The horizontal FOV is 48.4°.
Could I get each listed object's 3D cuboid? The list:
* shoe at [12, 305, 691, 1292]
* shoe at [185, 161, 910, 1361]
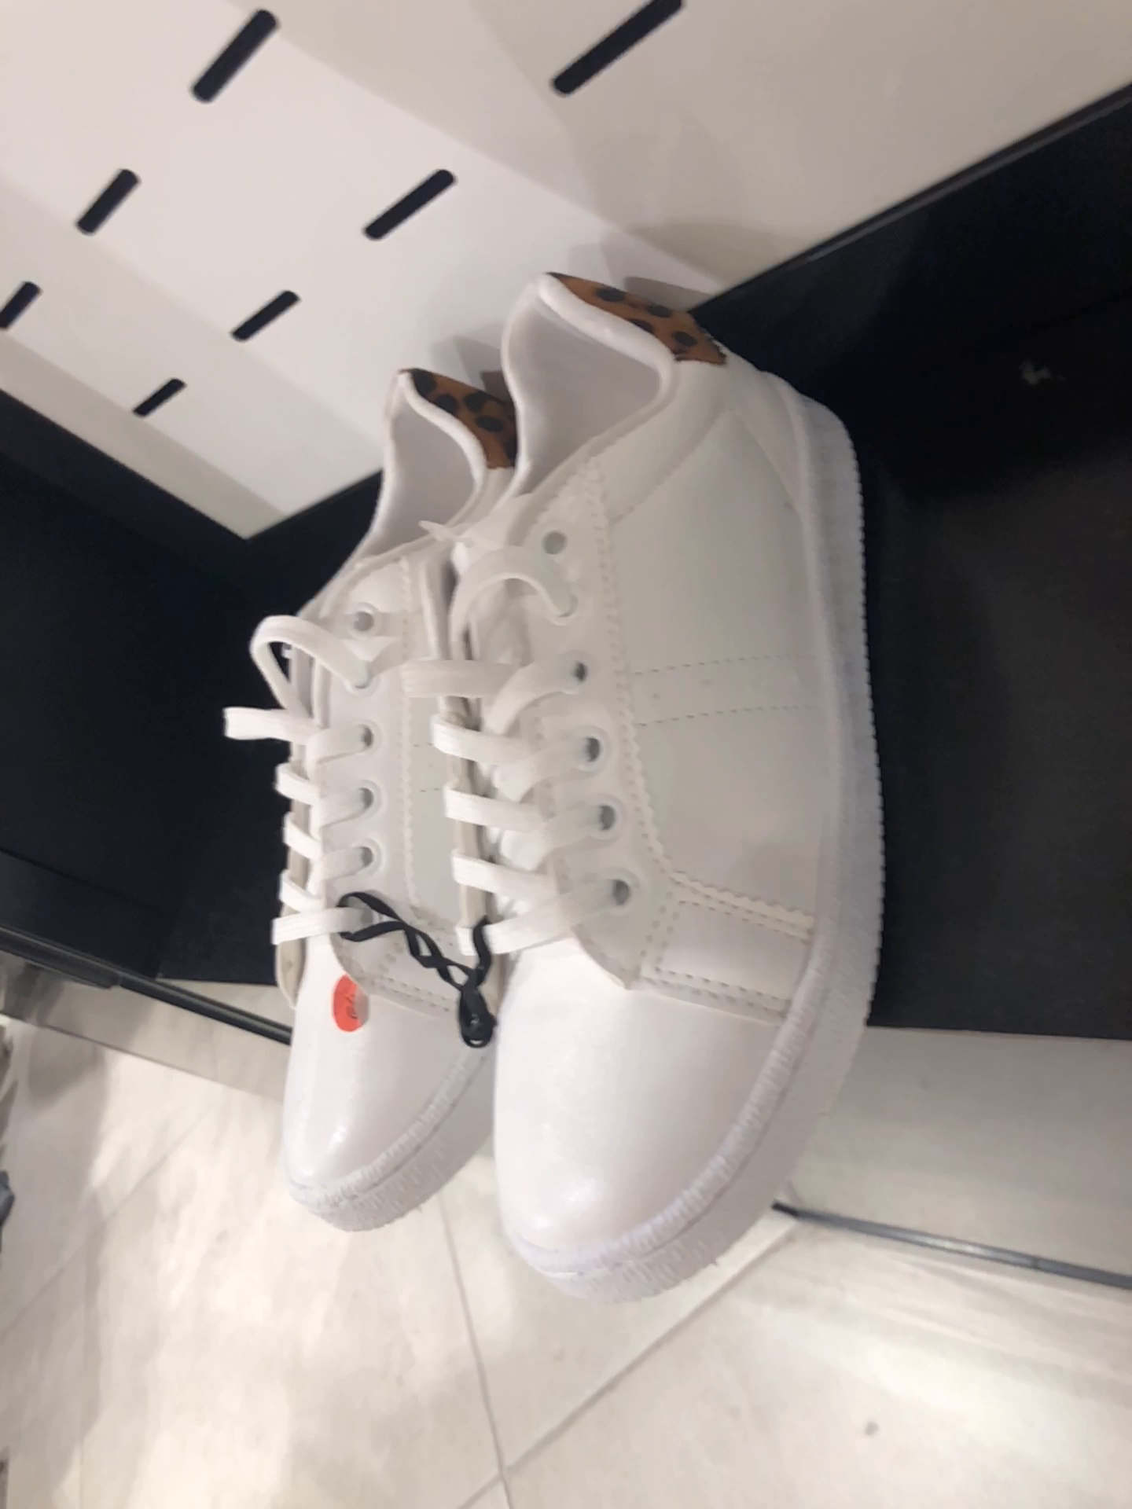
[{"bbox_3d":[-0.048,0.014,0.338,0.090,0.099,0.220,-13,59,47],"label":"shoe"},{"bbox_3d":[0.008,0.004,0.278,0.090,0.099,0.220,-19,55,44],"label":"shoe"}]
